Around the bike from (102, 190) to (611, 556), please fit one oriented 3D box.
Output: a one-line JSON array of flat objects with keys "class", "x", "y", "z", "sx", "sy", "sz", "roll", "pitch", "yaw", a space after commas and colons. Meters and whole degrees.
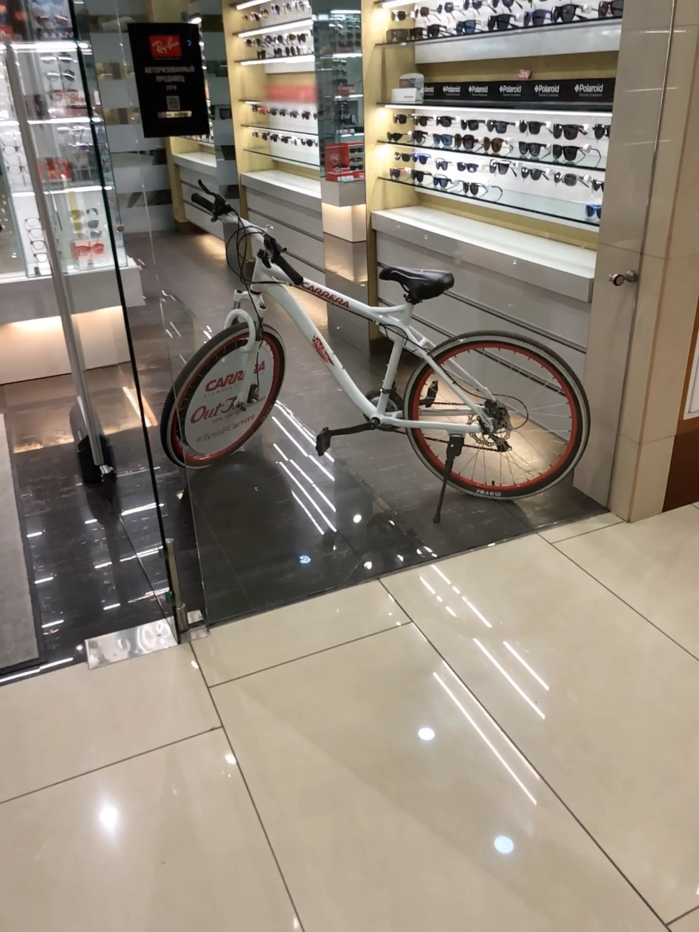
[{"class": "bike", "x": 0.053, "y": -0.291, "z": 2.498, "sx": 1.380, "sy": 0.948, "sz": 0.595, "roll": -1, "pitch": 25, "yaw": 10}]
